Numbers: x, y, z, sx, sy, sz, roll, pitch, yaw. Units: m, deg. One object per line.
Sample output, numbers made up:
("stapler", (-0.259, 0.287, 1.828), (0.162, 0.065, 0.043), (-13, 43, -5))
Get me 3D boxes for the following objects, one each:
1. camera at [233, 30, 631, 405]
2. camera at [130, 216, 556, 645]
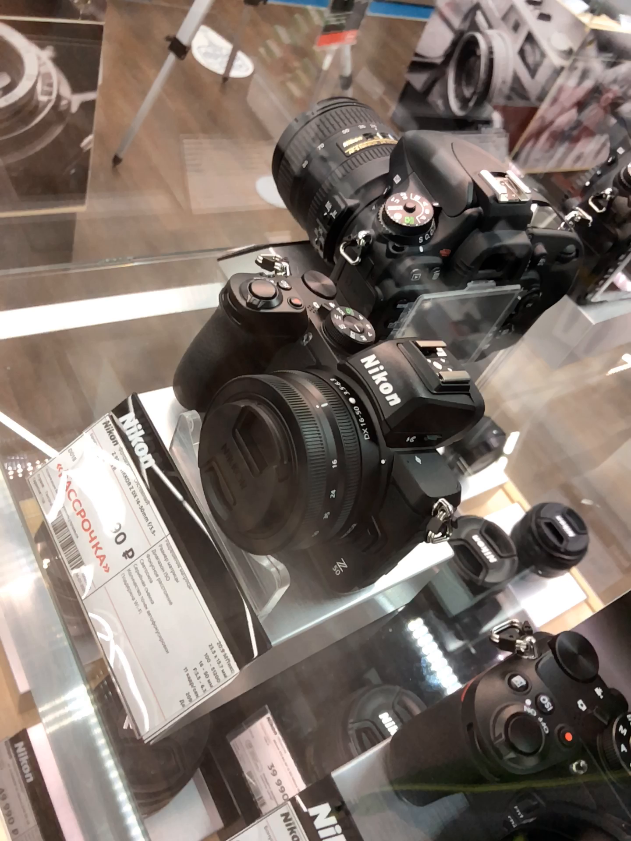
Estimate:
("camera", (0.055, -0.112, 0.390), (0.130, 0.112, 0.150), (-13, 62, -32))
("camera", (0.004, 0.000, 0.285), (0.090, 0.092, 0.127), (-7, 56, -43))
